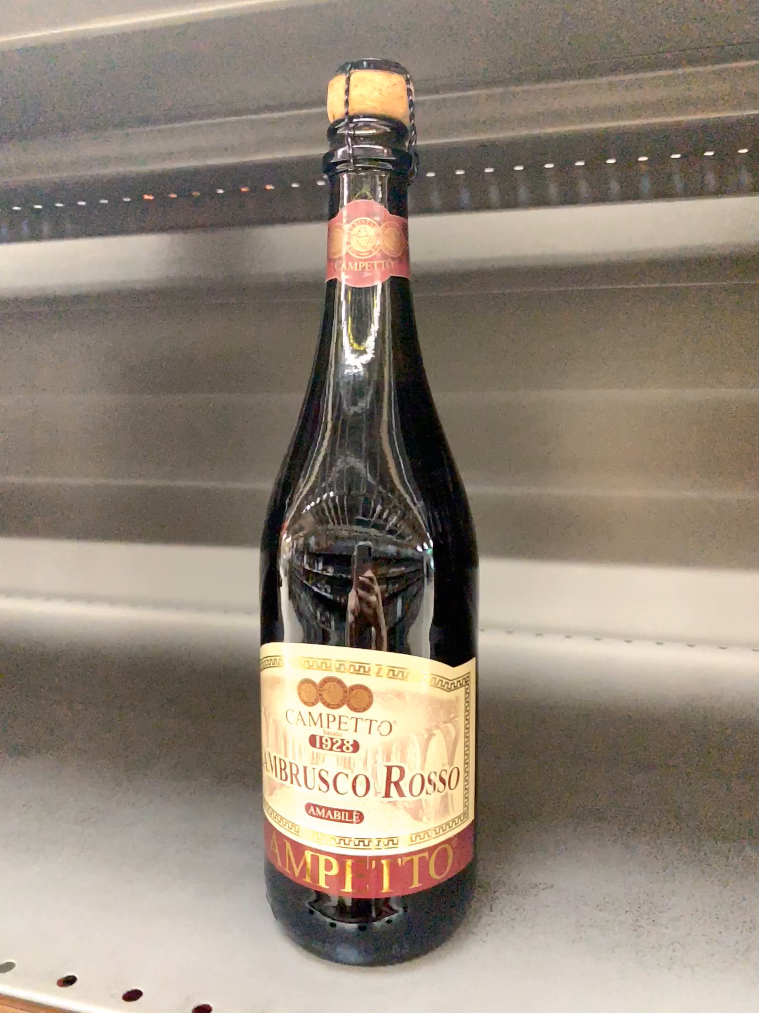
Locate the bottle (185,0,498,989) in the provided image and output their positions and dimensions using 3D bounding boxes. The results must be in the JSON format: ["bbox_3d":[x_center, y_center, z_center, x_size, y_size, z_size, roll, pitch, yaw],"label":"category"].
[{"bbox_3d":[-0.008,-0.001,0.286,0.090,0.300,0.080,2,5,13],"label":"bottle"}]
